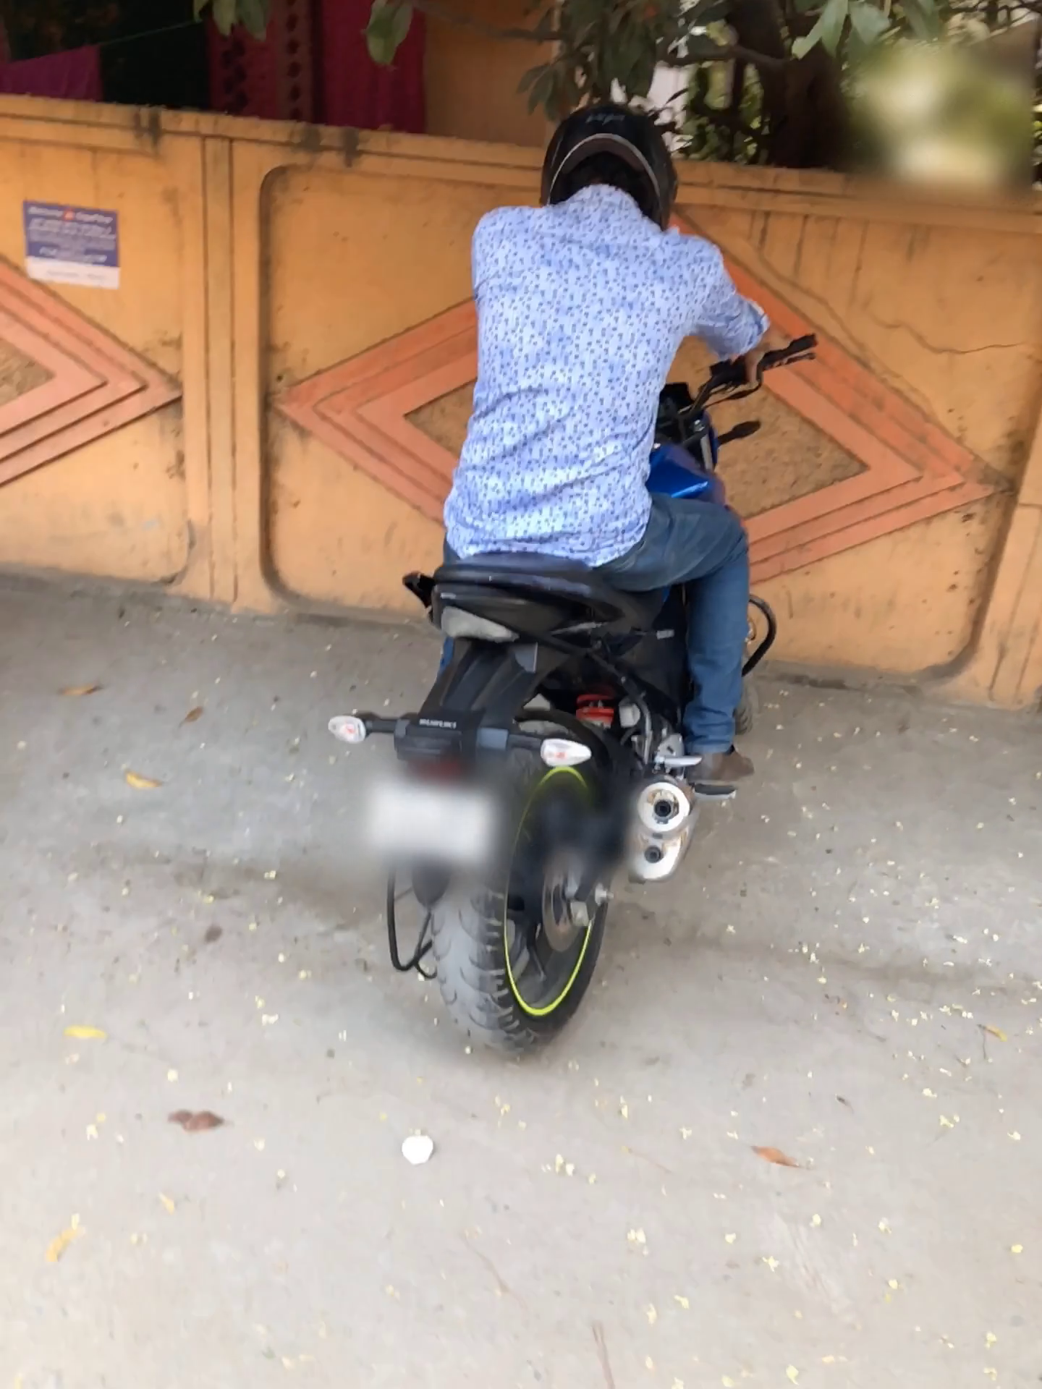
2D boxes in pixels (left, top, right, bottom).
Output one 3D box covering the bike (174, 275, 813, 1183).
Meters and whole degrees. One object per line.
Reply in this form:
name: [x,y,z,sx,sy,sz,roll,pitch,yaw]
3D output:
bike: [0.088,-0.211,2.556,0.793,1.188,1.899,12,25,14]
